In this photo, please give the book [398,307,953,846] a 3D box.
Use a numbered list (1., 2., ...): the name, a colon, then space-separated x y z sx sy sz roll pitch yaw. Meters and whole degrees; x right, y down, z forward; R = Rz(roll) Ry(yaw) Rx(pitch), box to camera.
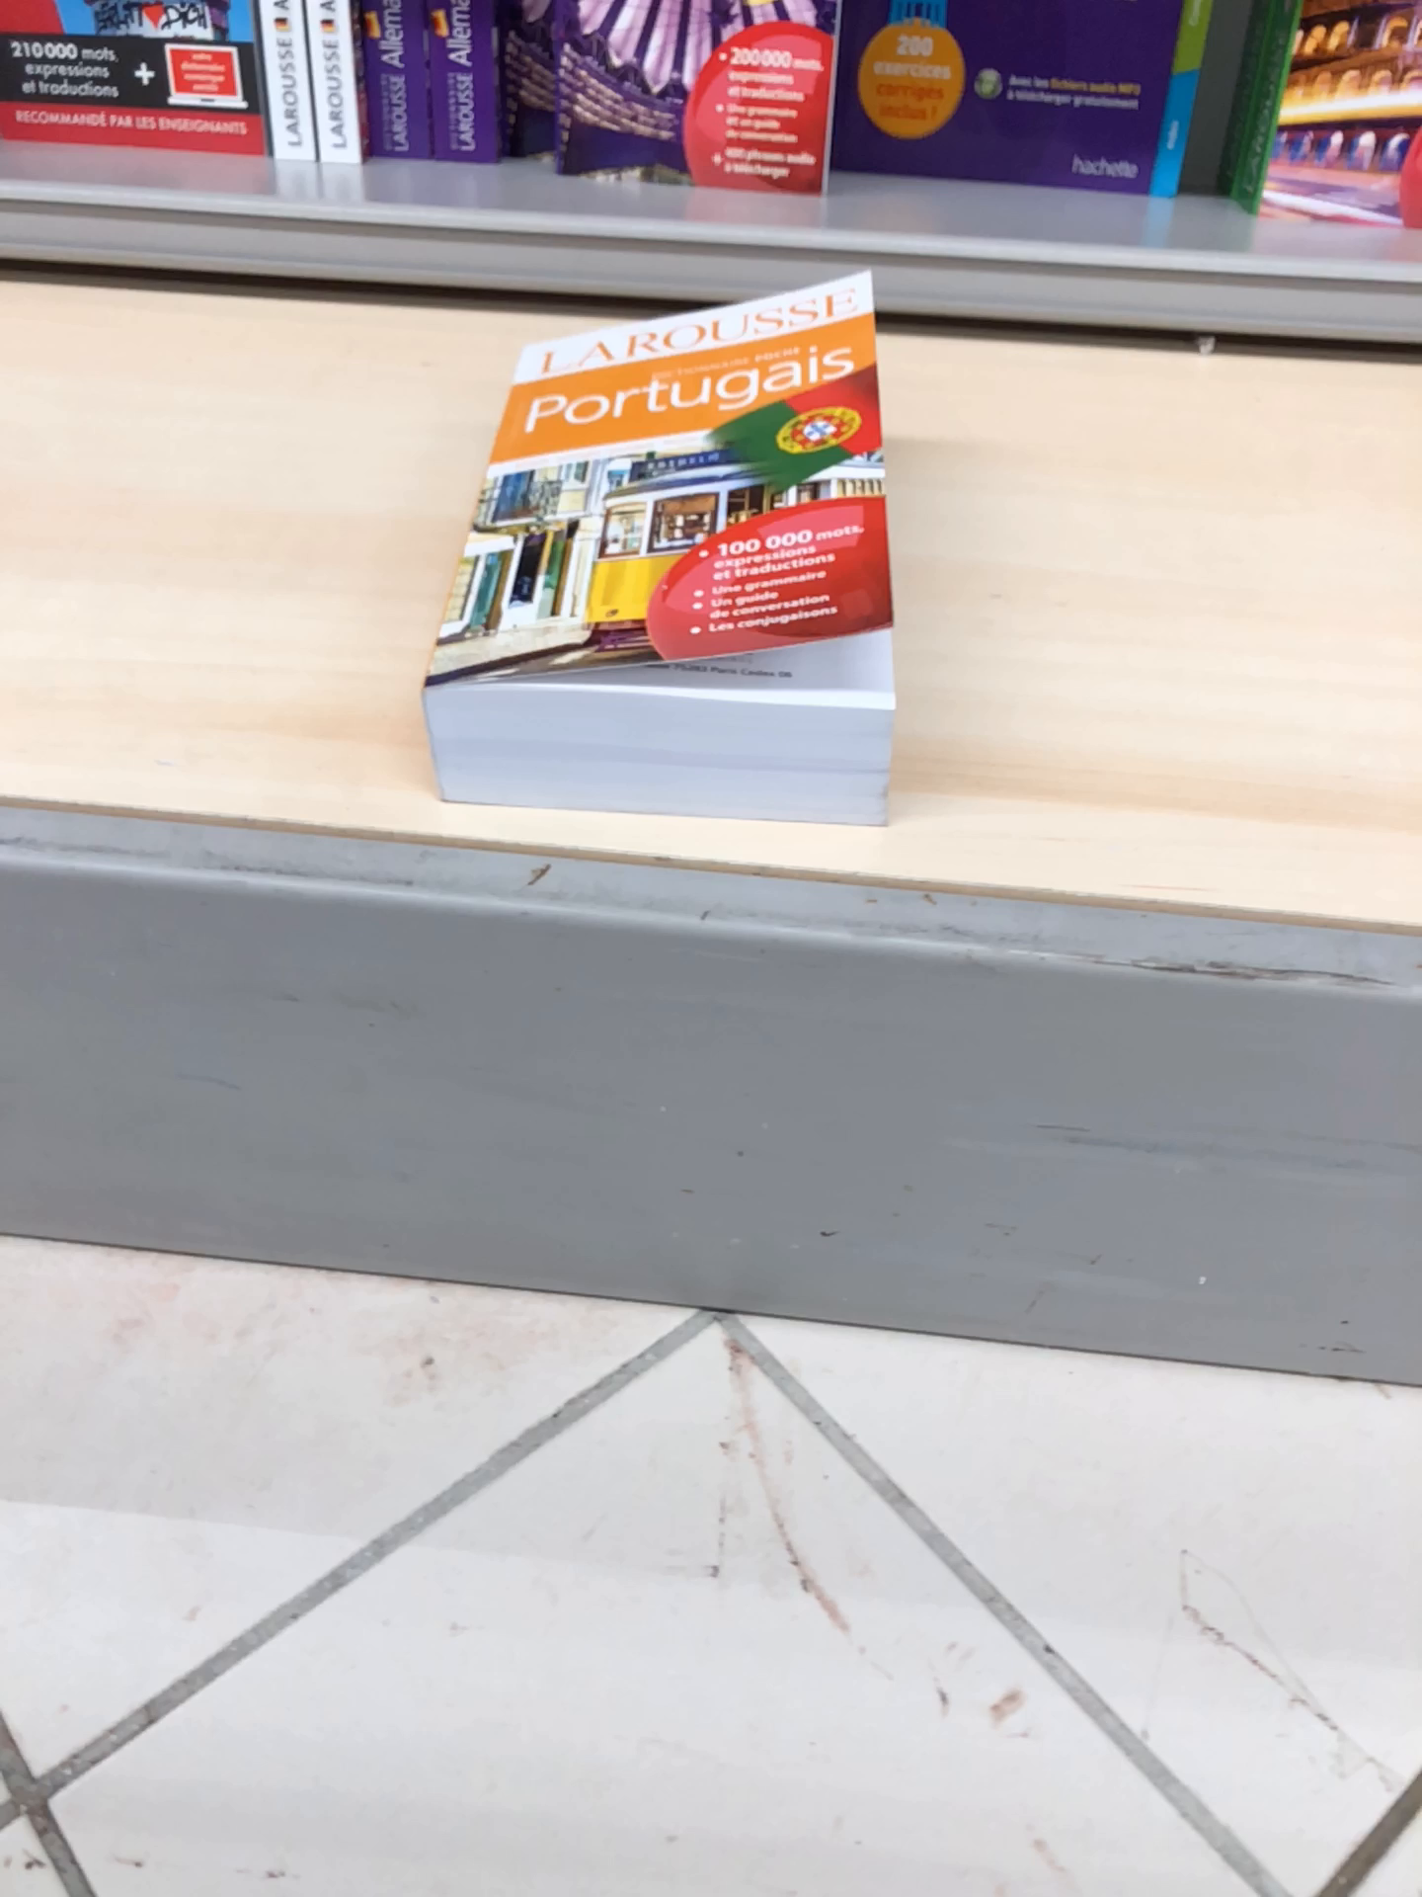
1. book: -0.005 -0.107 0.416 0.118 0.046 0.186 3 44 0
